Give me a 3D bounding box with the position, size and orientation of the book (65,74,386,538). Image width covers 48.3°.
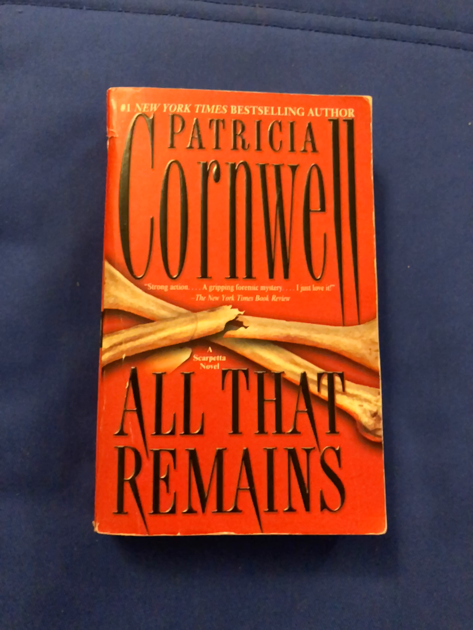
[{"bbox_3d":[-0.003,-0.005,0.205,0.110,0.030,0.166,1,83,-4],"label":"book"}]
